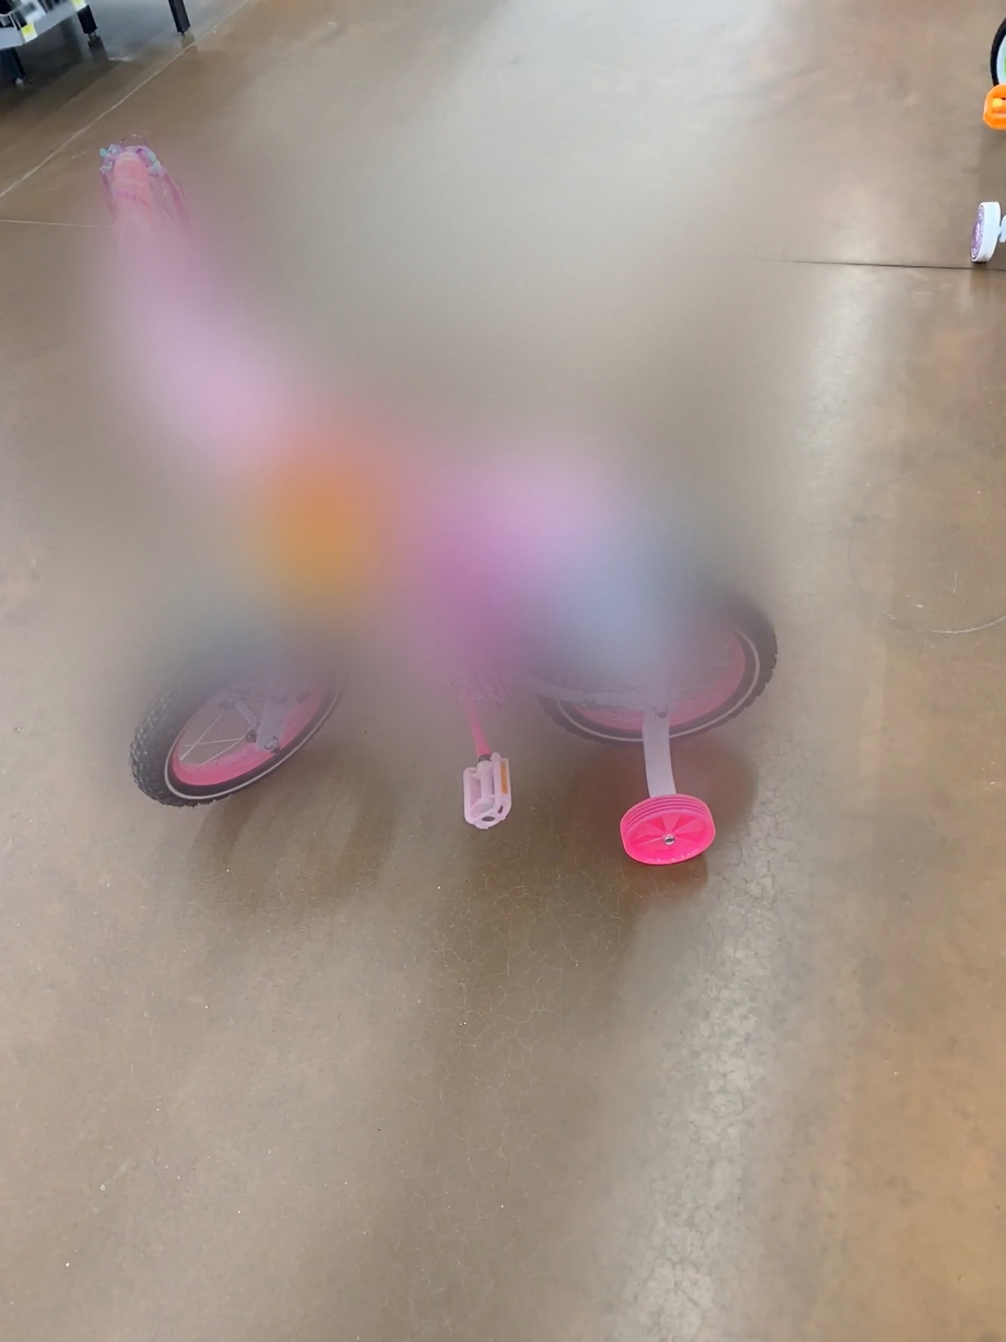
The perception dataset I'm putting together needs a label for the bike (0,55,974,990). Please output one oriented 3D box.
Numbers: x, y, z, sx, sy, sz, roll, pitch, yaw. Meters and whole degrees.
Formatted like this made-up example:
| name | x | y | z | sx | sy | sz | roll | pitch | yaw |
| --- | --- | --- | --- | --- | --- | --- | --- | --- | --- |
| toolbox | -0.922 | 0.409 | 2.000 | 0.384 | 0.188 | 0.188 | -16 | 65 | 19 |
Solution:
| name | x | y | z | sx | sy | sz | roll | pitch | yaw |
| --- | --- | --- | --- | --- | --- | --- | --- | --- | --- |
| bike | -0.079 | -0.091 | 1.091 | 0.776 | 0.707 | 0.429 | -12 | 48 | 1 |
